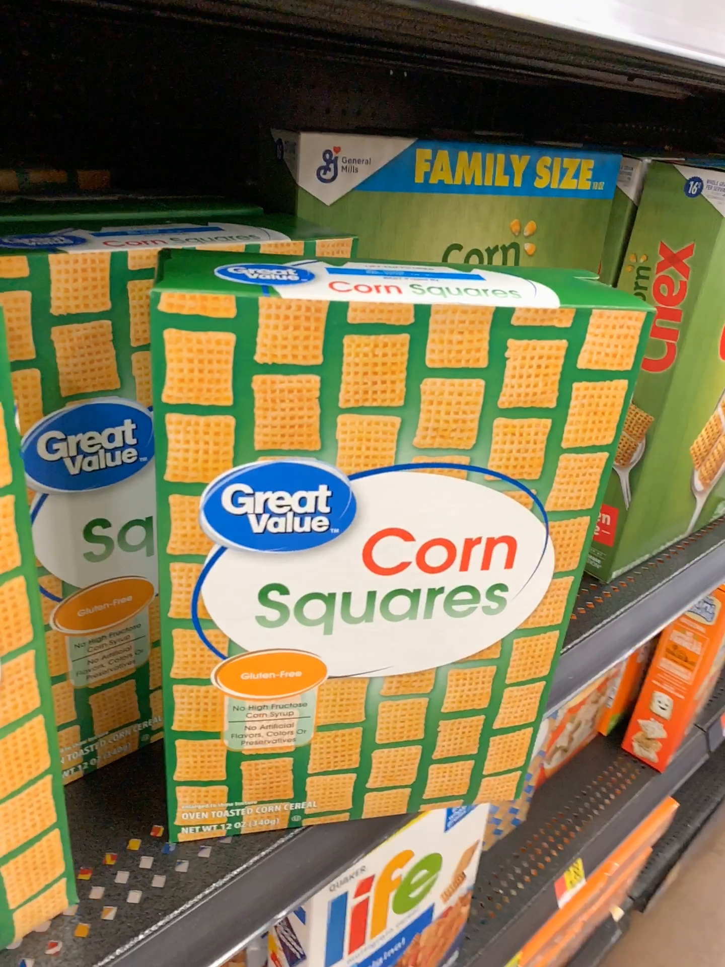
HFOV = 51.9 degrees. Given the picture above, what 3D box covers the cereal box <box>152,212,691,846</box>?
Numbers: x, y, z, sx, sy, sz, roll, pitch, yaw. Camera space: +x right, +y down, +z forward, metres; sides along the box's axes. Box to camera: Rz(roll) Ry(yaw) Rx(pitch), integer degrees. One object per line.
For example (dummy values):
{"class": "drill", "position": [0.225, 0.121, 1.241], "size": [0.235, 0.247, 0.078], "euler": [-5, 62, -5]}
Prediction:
{"class": "cereal box", "position": [0.006, 0.035, 0.358], "size": [0.200, 0.289, 0.070], "euler": [-1, 28, -15]}
